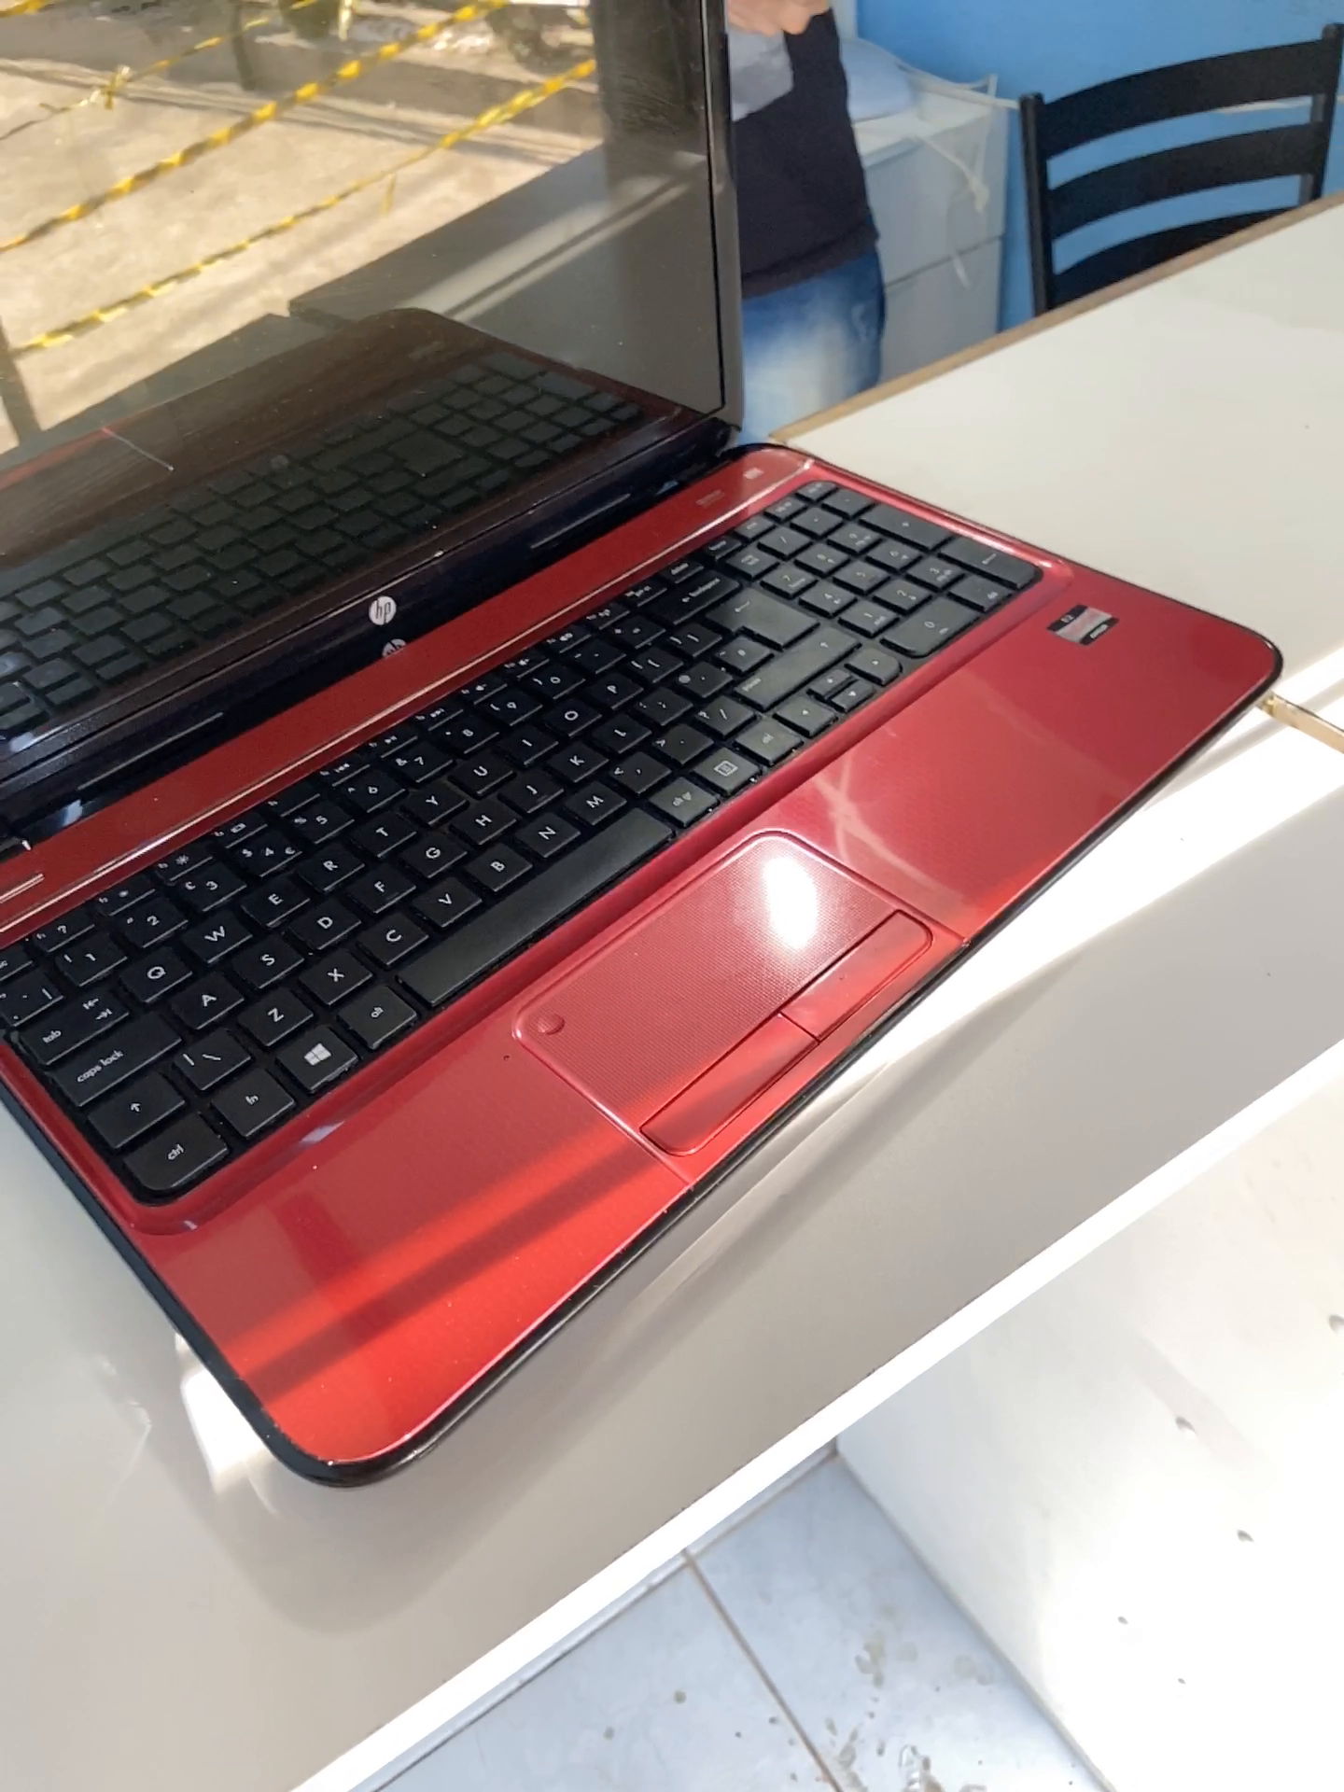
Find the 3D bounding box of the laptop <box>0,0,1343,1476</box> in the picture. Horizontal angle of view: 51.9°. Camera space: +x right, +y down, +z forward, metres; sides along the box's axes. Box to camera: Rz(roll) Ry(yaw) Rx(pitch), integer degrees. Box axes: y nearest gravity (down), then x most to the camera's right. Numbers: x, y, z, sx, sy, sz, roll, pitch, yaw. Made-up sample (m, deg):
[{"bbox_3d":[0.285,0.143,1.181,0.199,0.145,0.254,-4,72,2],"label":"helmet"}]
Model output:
[{"bbox_3d":[-0.029,-0.115,0.332,0.357,0.221,0.228,-36,50,-26],"label":"laptop"}]
